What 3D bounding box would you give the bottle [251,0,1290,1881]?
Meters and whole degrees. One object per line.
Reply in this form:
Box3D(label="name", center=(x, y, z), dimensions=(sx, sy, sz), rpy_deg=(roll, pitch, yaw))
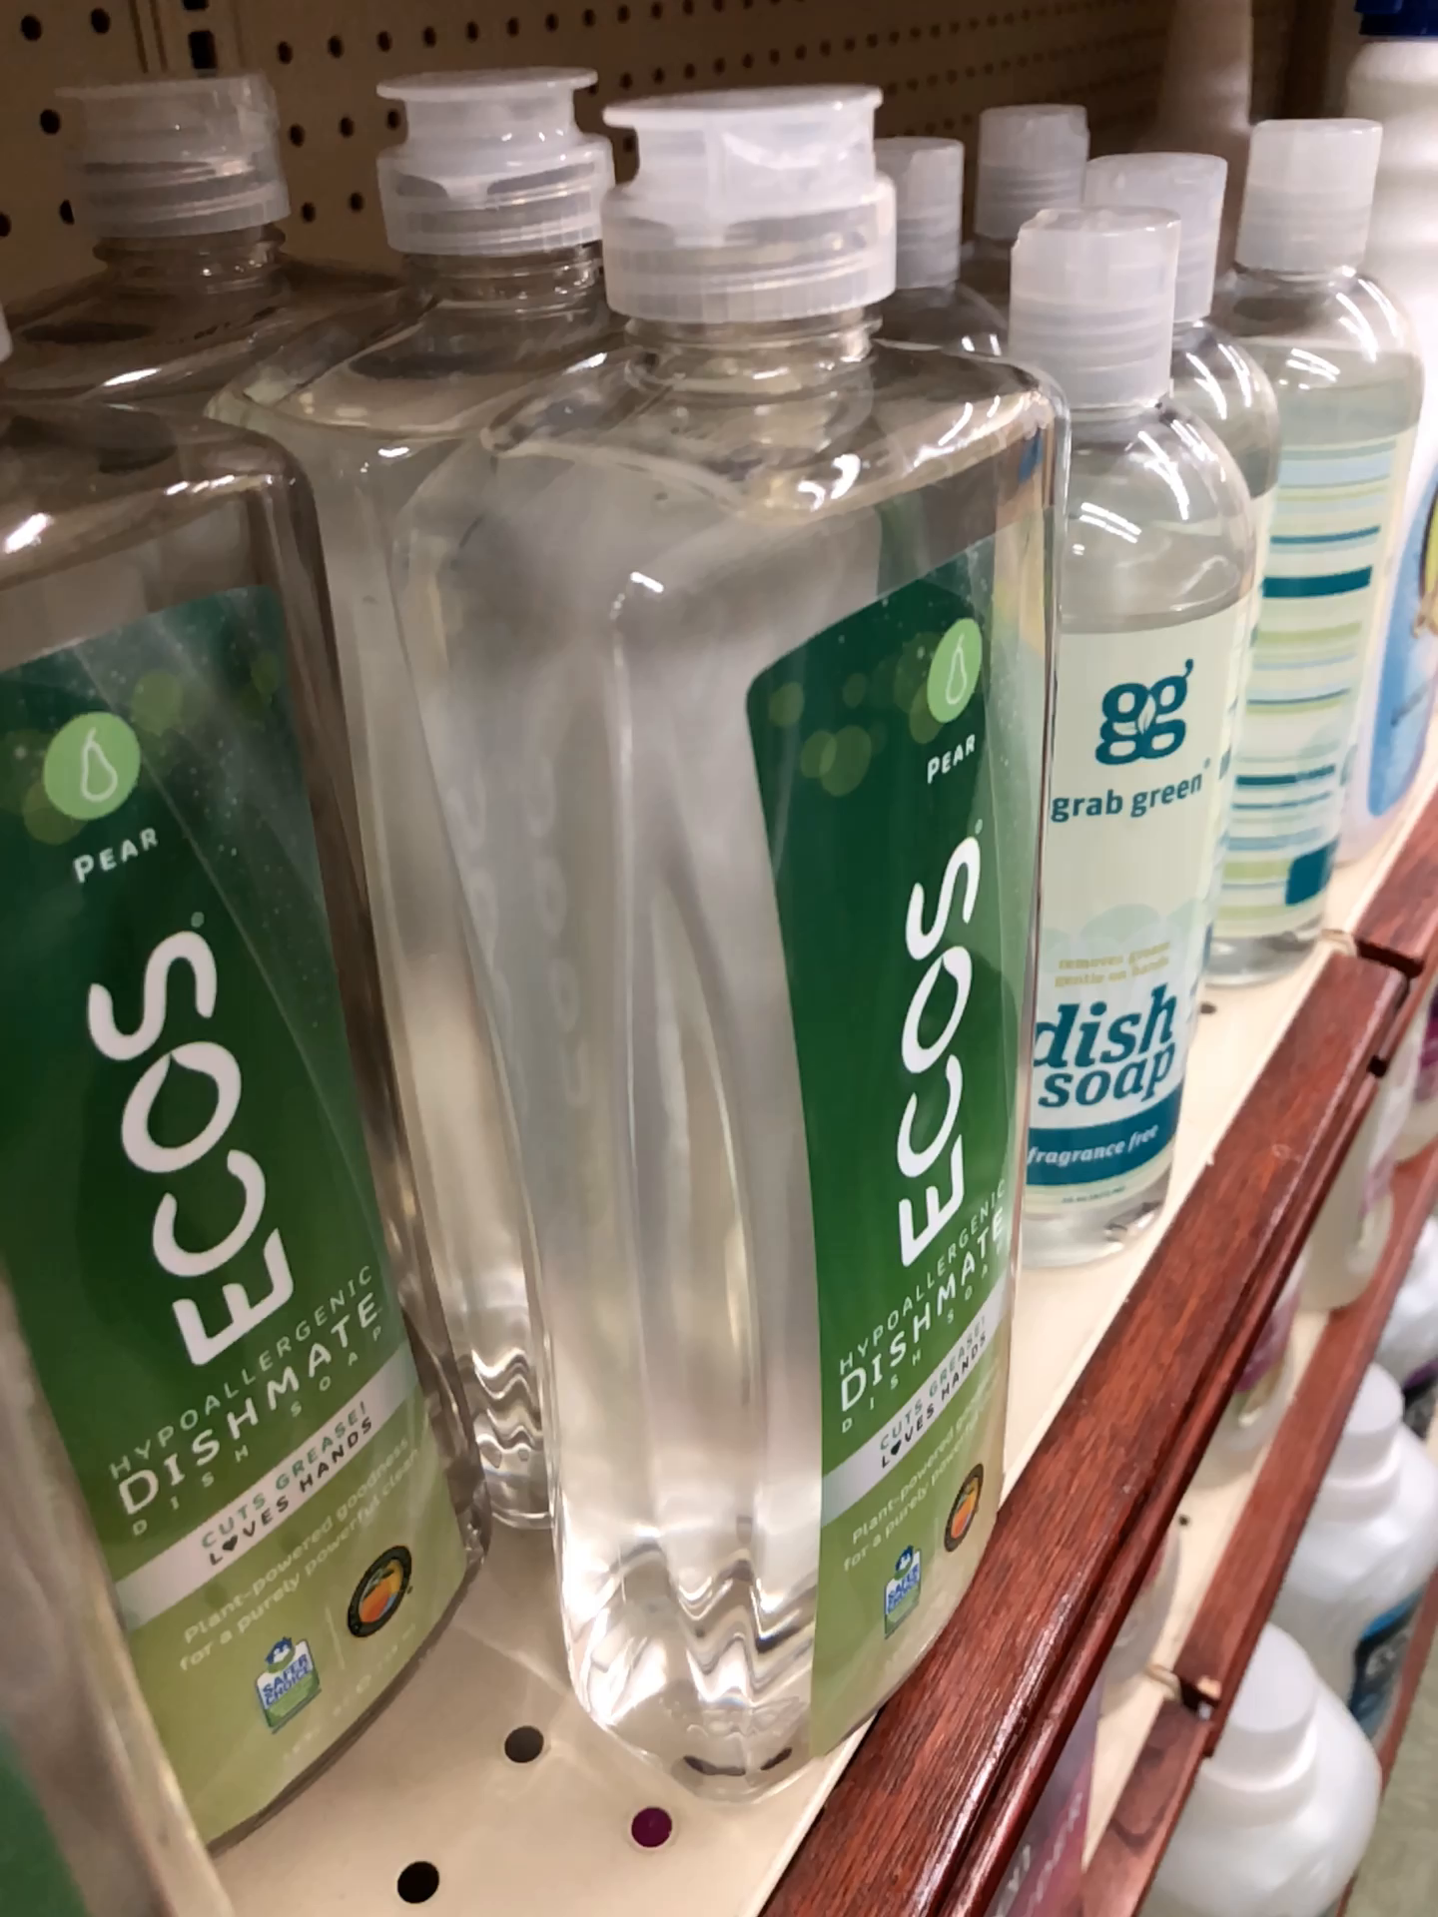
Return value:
Box3D(label="bottle", center=(0.012, 0.007, 0.208), dimensions=(0.050, 0.226, 0.092), rpy_deg=(22, 40, 30))
